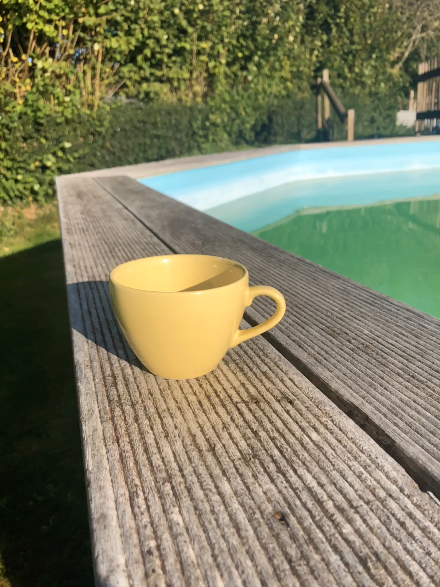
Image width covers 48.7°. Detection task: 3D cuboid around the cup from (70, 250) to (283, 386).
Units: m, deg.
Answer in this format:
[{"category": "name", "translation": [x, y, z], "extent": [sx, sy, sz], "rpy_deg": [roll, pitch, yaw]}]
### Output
[{"category": "cup", "translation": [-0.019, 0.009, 0.309], "extent": [0.112, 0.053, 0.089], "rpy_deg": [2, 18, 11]}]
